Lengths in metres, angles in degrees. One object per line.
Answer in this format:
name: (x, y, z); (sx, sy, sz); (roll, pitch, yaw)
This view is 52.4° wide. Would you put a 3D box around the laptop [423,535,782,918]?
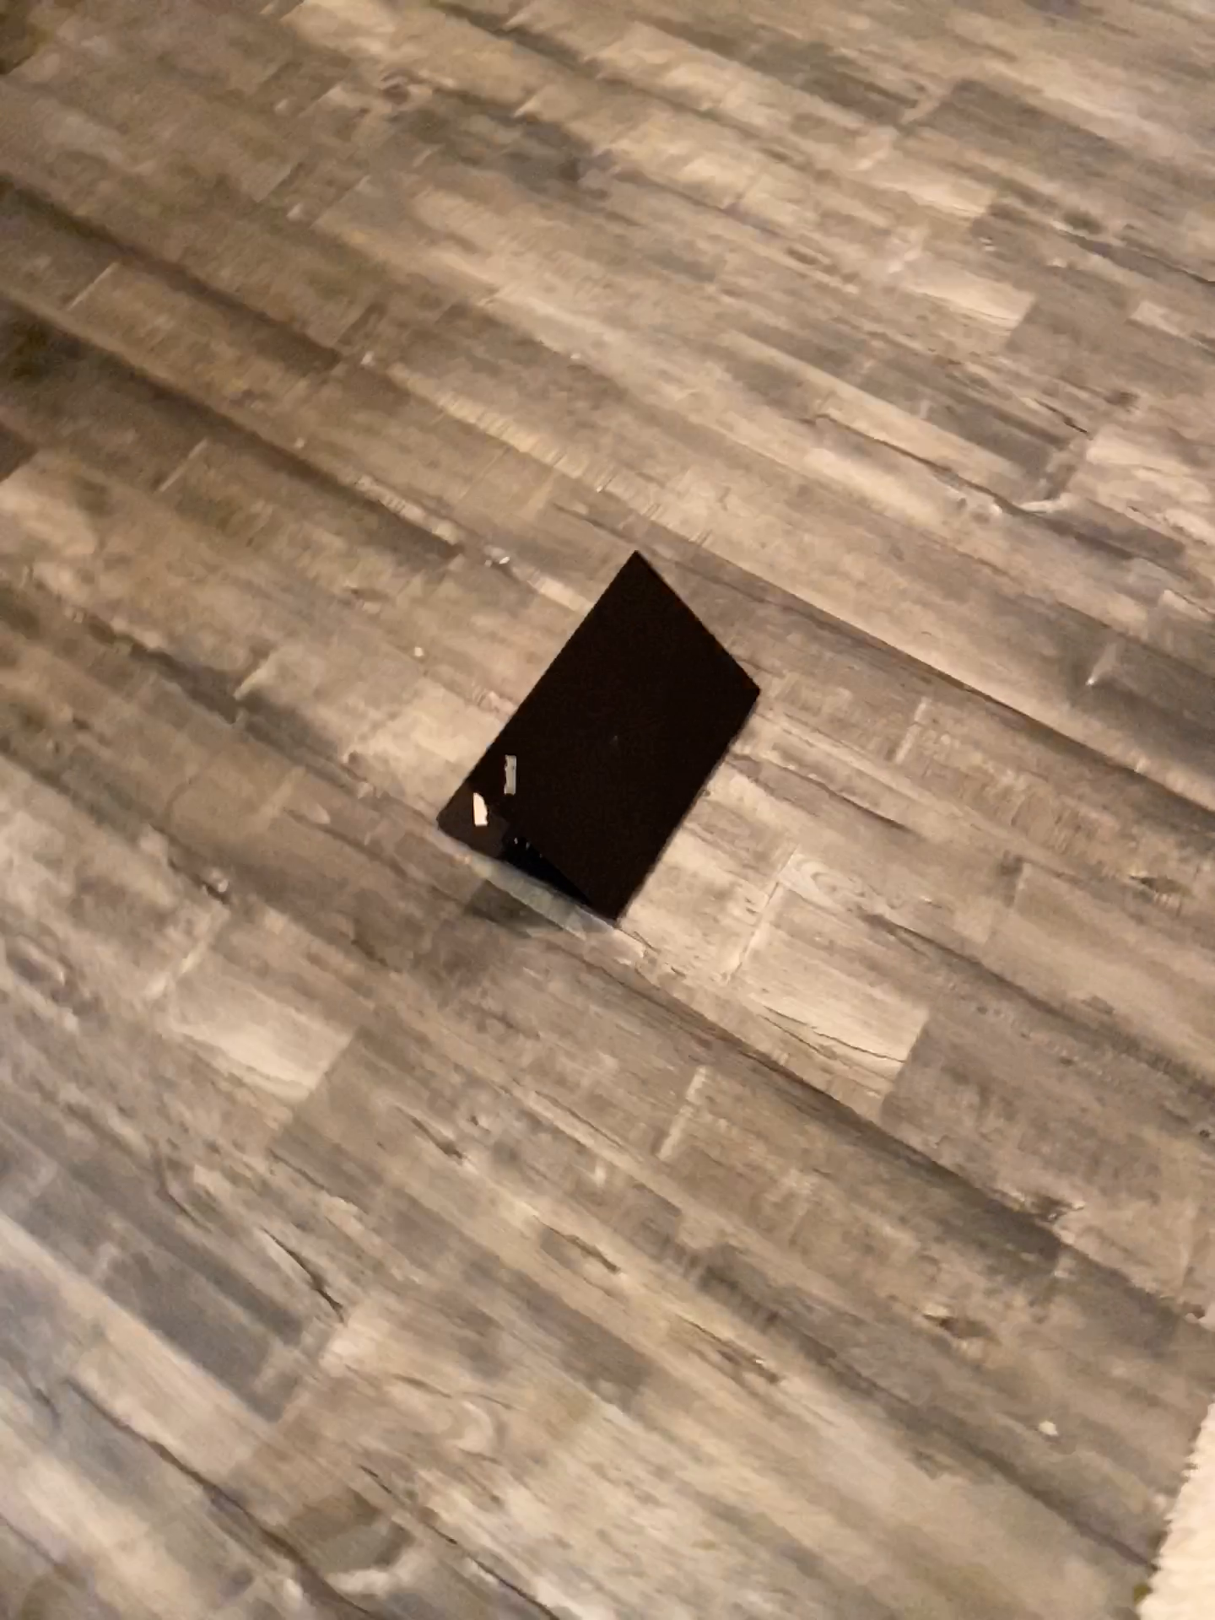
laptop: (-0.001, -0.090, 1.258); (0.218, 0.124, 0.315); (29, 65, 12)
